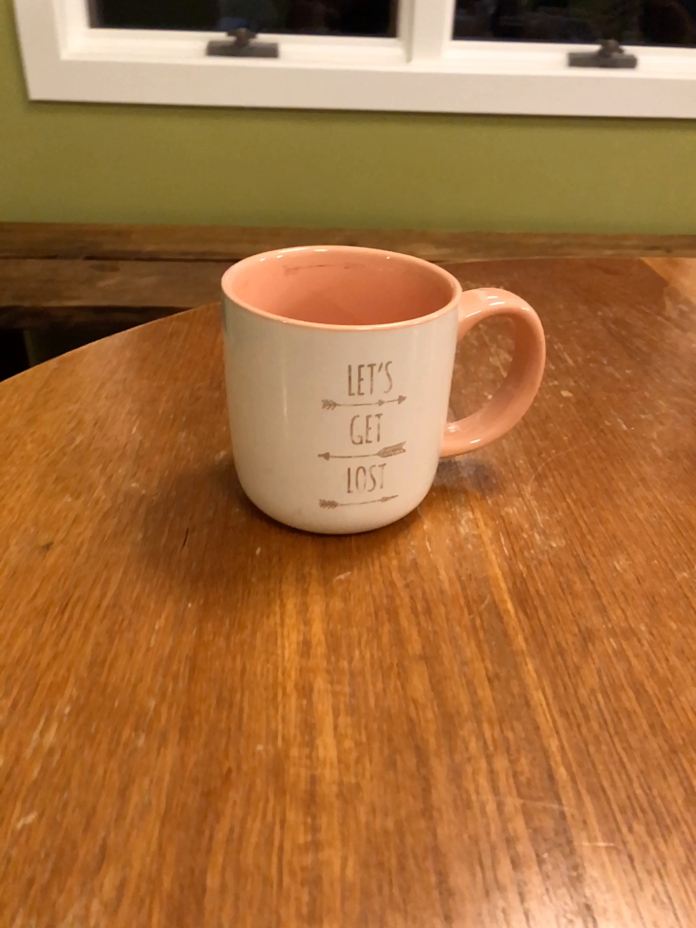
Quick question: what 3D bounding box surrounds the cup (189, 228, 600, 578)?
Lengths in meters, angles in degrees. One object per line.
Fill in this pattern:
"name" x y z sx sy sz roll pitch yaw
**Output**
"cup" 0.014 -0.035 0.346 0.144 0.106 0.094 -11 34 -19
